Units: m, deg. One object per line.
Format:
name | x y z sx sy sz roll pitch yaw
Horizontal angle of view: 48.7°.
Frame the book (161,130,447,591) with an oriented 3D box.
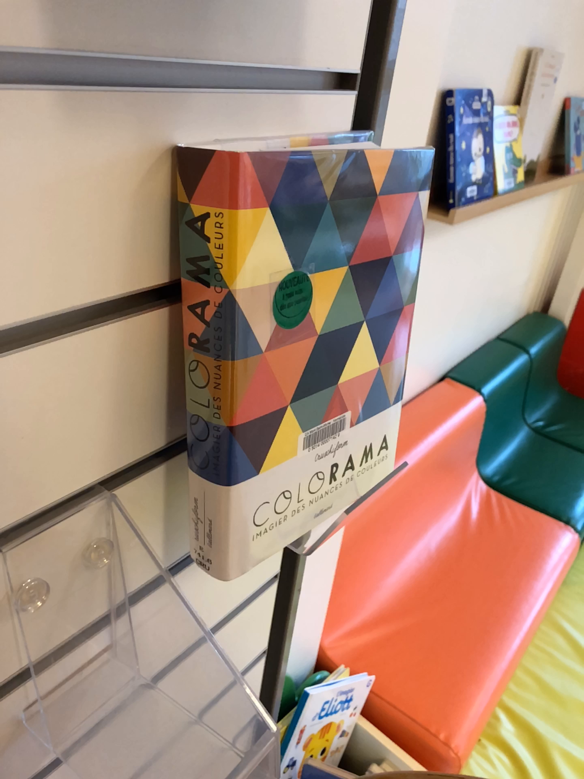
book | 0.011 -0.026 0.379 0.046 0.231 0.171 22 31 37
